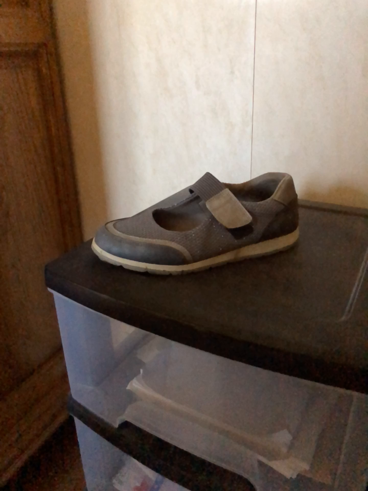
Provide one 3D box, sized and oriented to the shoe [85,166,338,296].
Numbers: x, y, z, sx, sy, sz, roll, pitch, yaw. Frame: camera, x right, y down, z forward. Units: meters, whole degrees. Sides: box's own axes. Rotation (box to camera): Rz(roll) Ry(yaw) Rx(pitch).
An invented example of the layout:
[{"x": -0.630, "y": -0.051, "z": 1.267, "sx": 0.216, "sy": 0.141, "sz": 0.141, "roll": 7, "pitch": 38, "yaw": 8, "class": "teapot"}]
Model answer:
[{"x": 0.029, "y": -0.028, "z": 0.466, "sx": 0.261, "sy": 0.080, "sz": 0.110, "roll": -9, "pitch": 25, "yaw": -16, "class": "shoe"}]
